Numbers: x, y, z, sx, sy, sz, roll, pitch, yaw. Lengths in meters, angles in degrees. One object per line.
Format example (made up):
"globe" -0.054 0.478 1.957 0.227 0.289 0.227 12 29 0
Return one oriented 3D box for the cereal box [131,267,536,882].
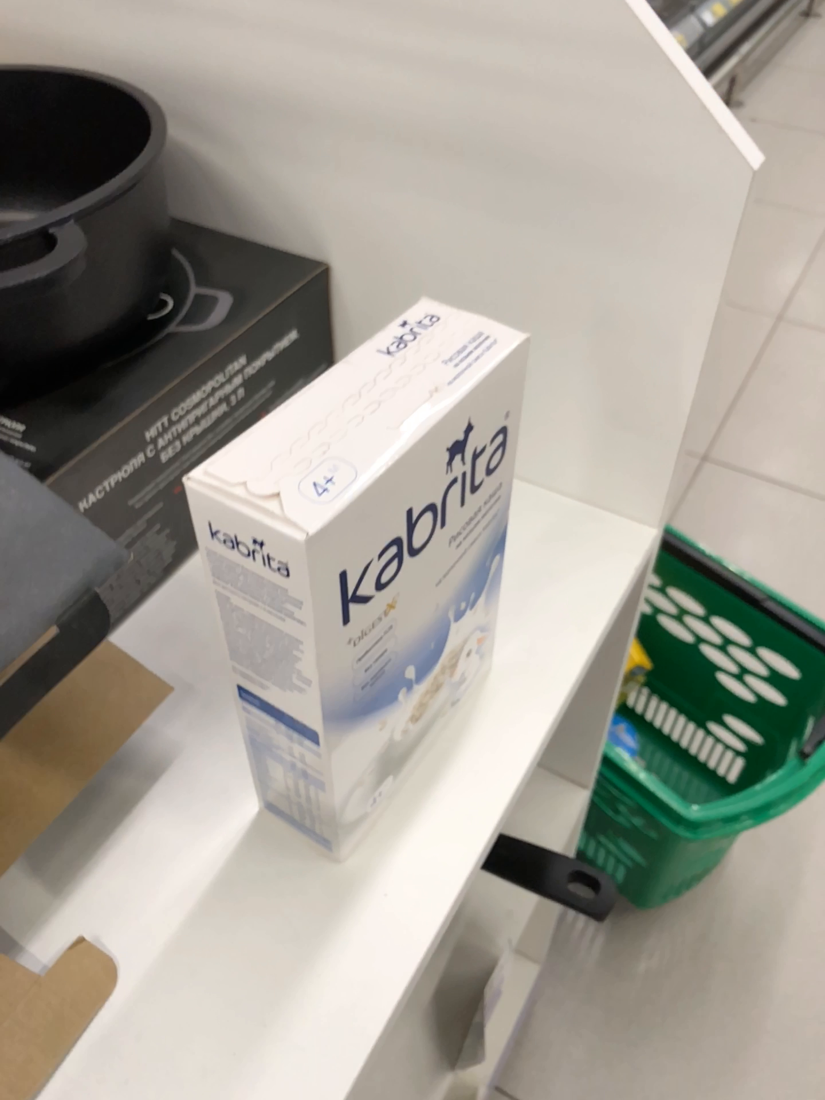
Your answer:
"cereal box" -0.021 0.017 0.376 0.060 0.209 0.141 26 50 22
